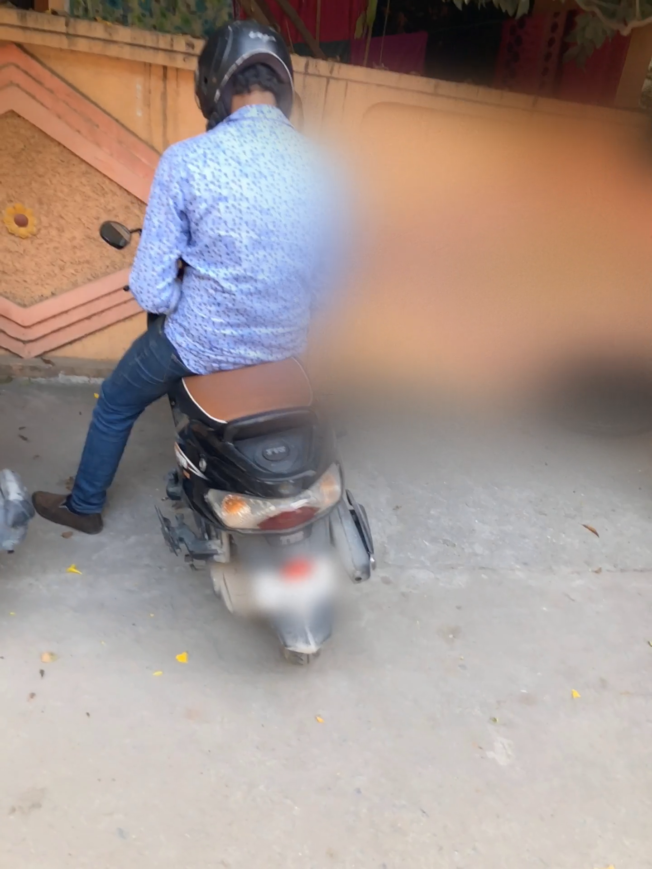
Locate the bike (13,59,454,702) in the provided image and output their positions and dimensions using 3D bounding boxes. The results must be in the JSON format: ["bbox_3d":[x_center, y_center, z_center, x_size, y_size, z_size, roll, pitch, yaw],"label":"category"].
[{"bbox_3d":[-0.406,-0.248,1.994,0.629,1.037,1.325,-6,37,-28],"label":"bike"}]
